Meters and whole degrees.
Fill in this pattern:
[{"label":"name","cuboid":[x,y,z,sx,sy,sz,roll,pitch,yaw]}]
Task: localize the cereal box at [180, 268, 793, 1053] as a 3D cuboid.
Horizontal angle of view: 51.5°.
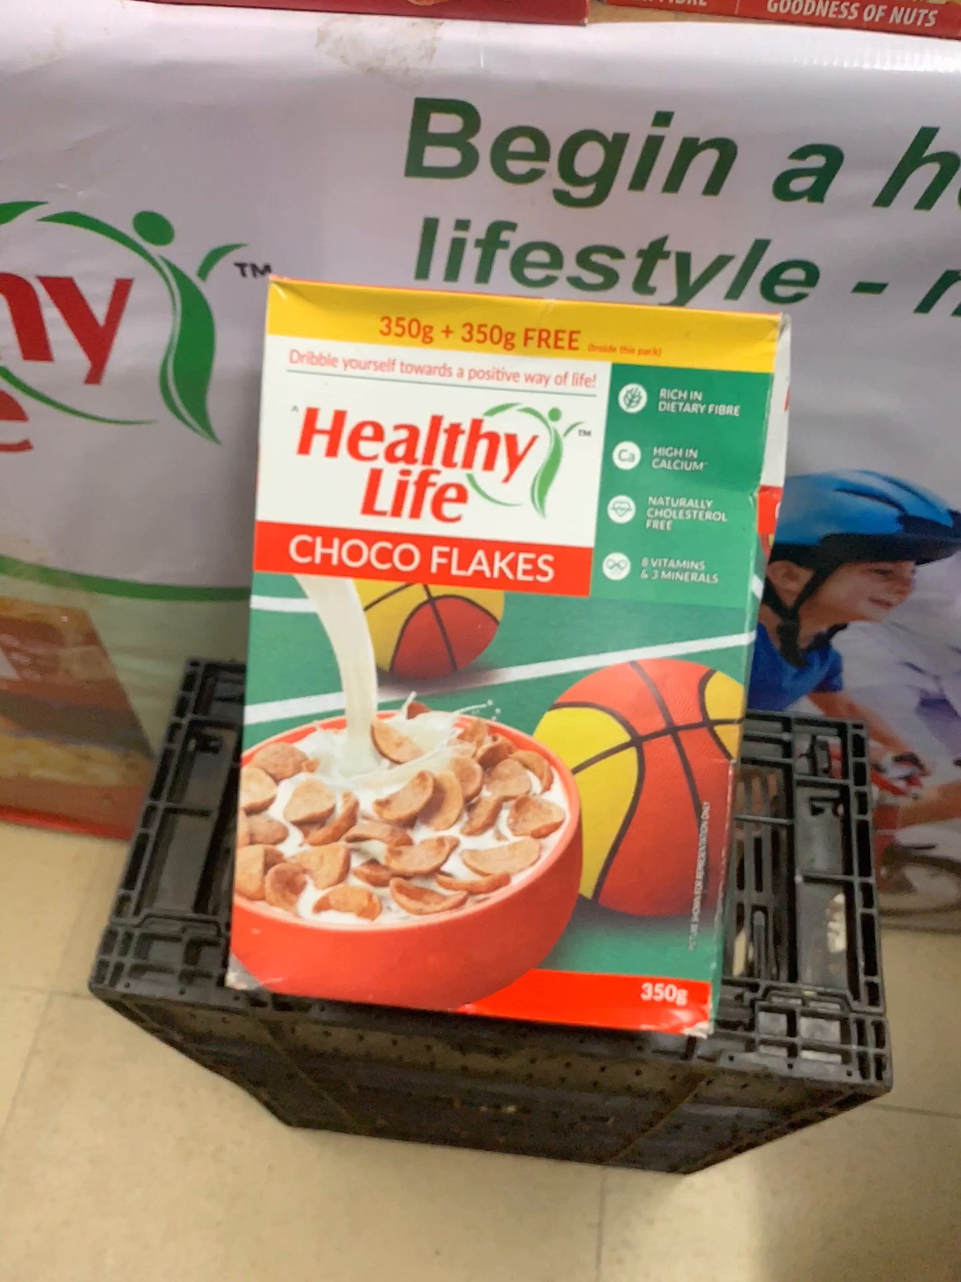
[{"label":"cereal box","cuboid":[-0.002,0.006,0.417,0.210,0.090,0.280,5,97,4]}]
